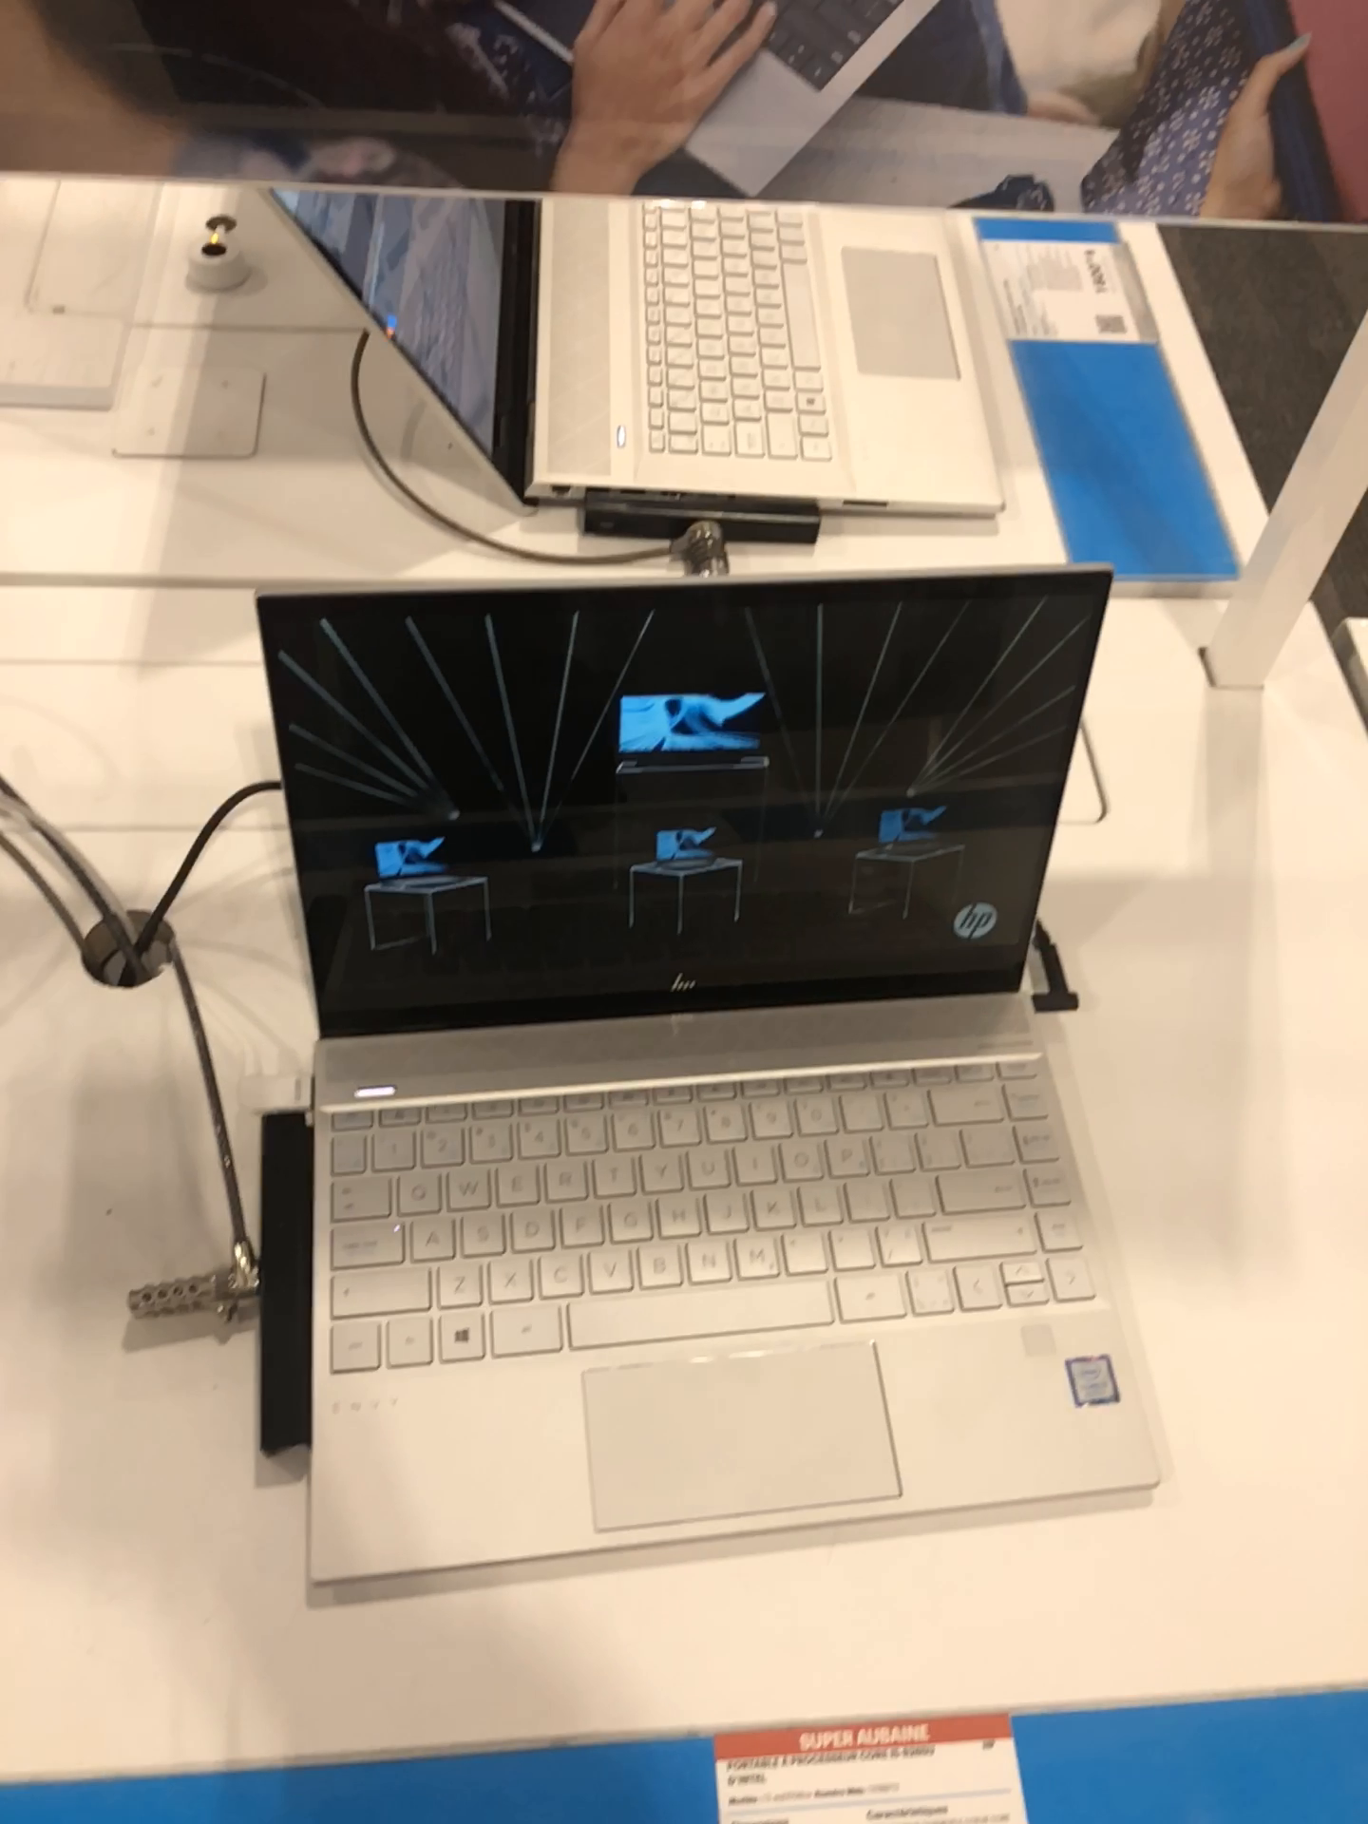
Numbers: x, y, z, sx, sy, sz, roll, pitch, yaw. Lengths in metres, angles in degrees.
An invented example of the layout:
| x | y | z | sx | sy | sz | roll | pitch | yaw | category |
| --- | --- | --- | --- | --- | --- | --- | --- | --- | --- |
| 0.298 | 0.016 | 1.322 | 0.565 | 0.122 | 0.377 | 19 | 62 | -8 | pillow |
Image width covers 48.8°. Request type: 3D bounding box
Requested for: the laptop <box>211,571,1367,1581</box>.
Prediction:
| x | y | z | sx | sy | sz | roll | pitch | yaw | category |
| --- | --- | --- | --- | --- | --- | --- | --- | --- | --- |
| 0.014 | 0.051 | 0.526 | 0.298 | 0.183 | 0.272 | -4 | 58 | -8 | laptop |
